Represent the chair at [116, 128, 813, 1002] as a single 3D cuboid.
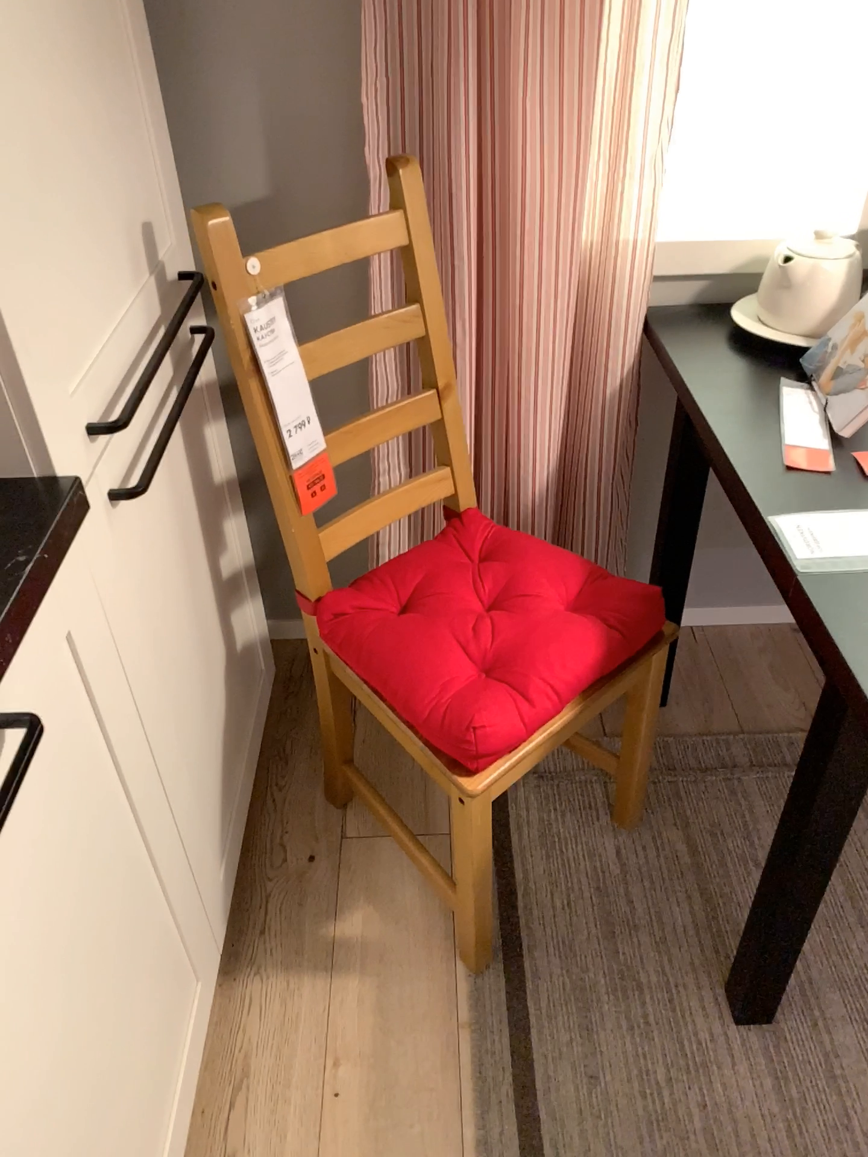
[{"bbox_3d":[0.036,-0.011,1.290,0.581,1.014,0.502,31,49,34],"label":"chair"}]
